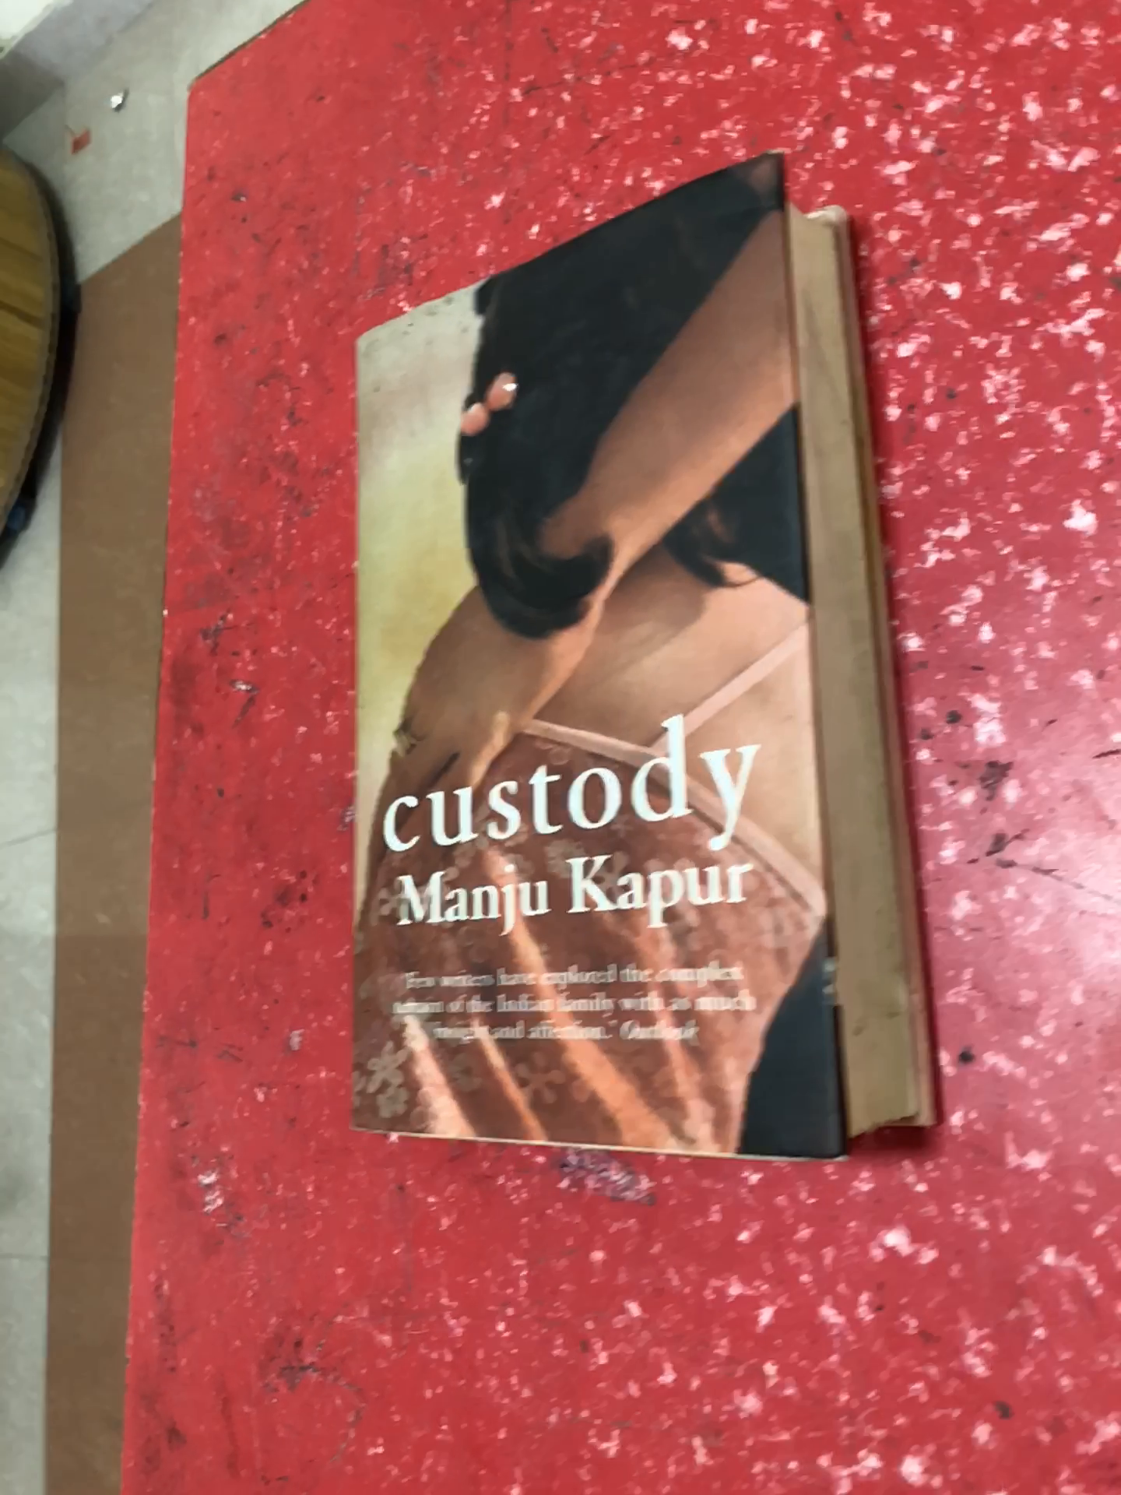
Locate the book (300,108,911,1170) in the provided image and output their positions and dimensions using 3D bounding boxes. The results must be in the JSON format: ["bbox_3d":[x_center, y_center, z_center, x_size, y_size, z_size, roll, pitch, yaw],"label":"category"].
[{"bbox_3d":[0.001,-0.018,0.305,0.141,0.040,0.220,-11,74,36],"label":"book"}]
